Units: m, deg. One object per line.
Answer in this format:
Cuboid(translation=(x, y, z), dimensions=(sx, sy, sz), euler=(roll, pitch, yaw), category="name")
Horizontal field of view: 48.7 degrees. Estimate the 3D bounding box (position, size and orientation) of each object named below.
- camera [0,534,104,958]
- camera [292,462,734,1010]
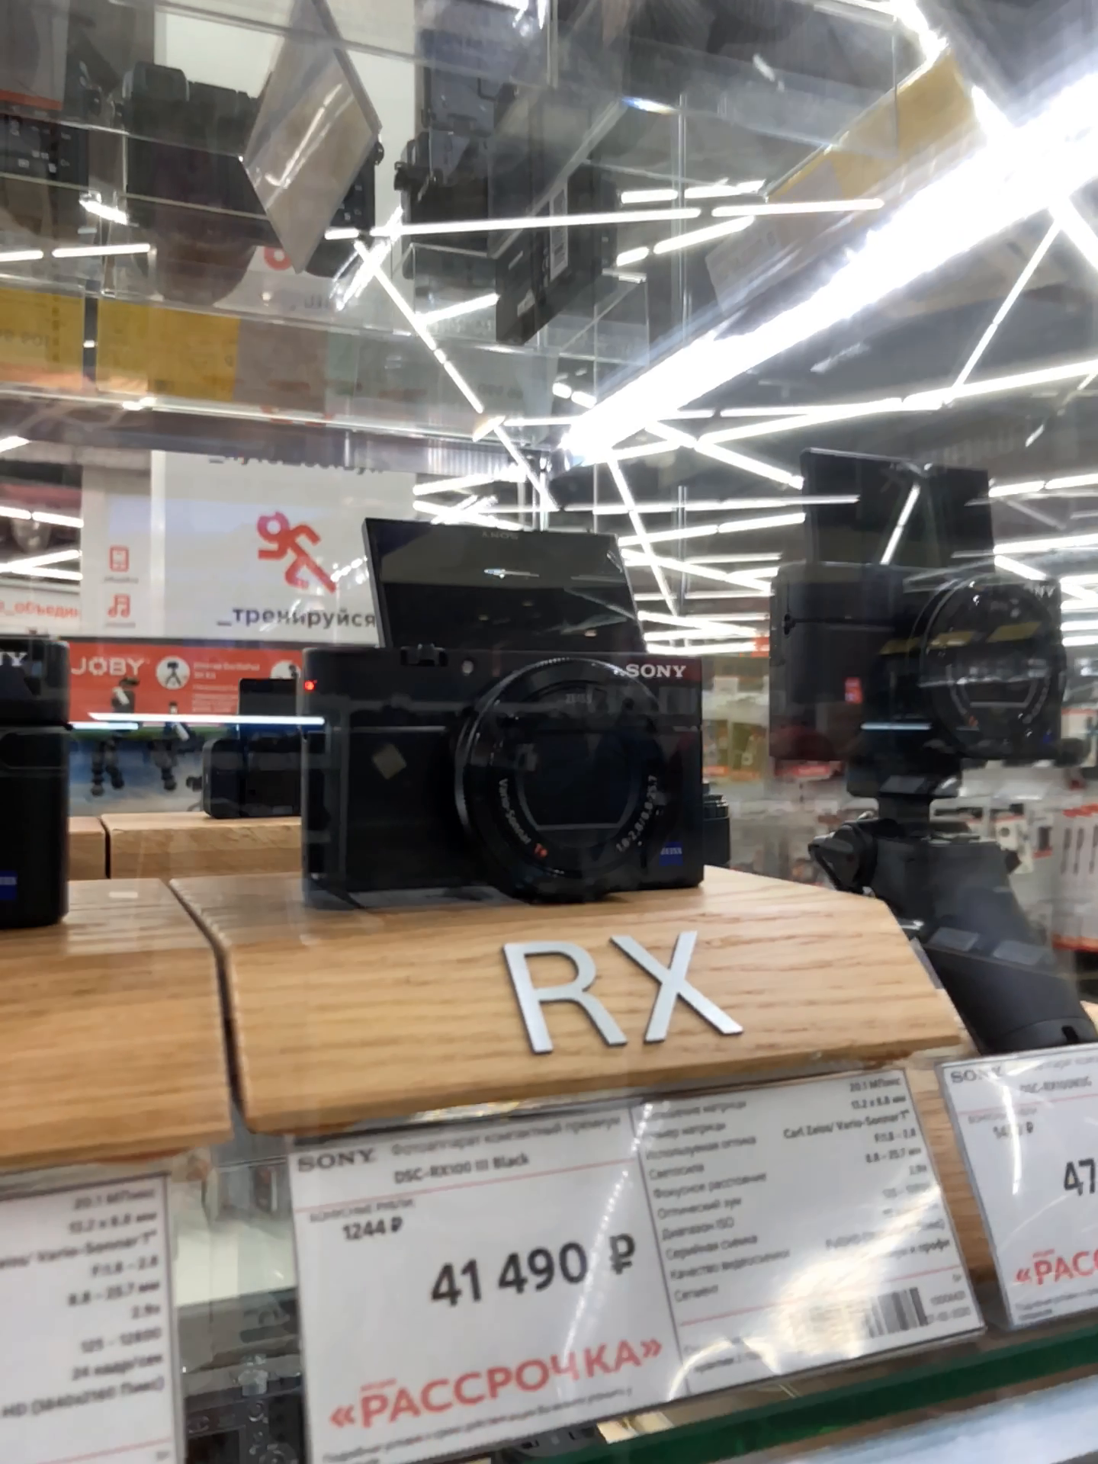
Cuboid(translation=(-0.150, 0.003, 0.257), dimensions=(0.101, 0.068, 0.096), euler=(1, -2, -22), category="camera")
Cuboid(translation=(-0.010, 0.001, 0.307), dimensions=(0.100, 0.120, 0.050), euler=(1, -2, -22), category="camera")
